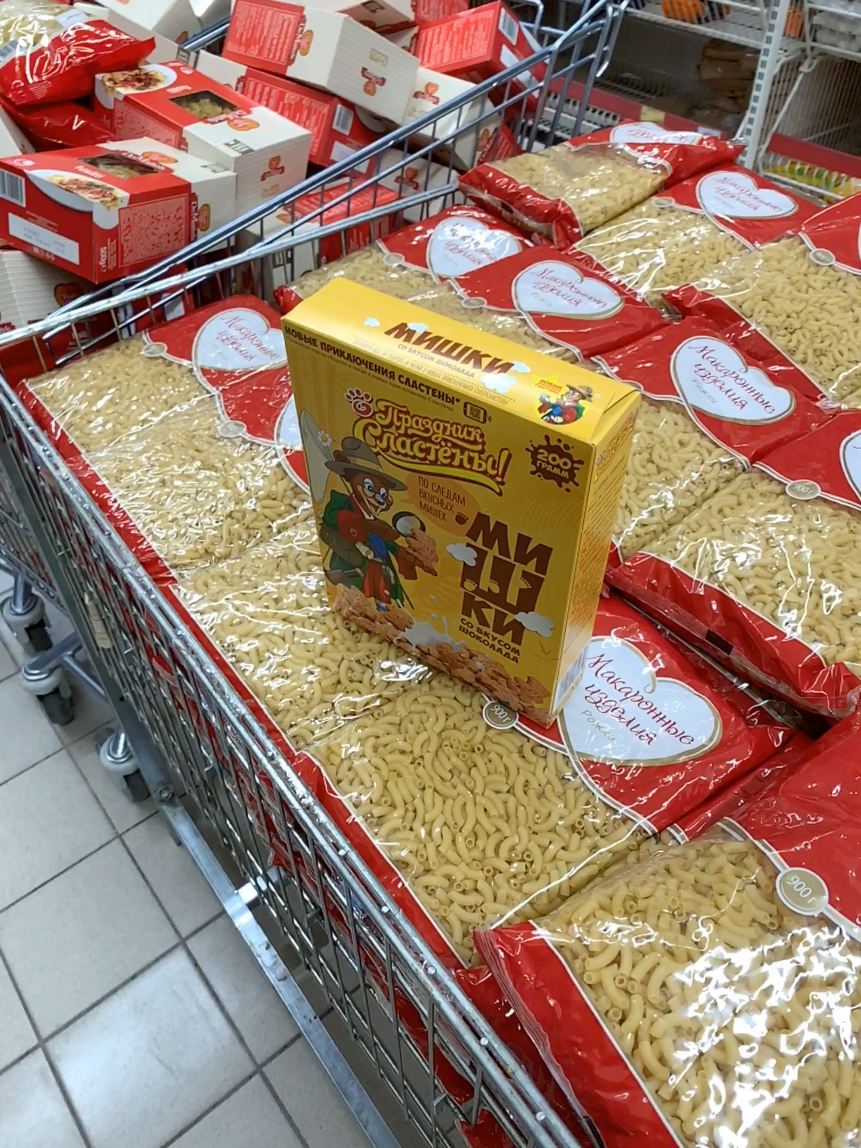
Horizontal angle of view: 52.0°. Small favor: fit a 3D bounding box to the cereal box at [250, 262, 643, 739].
[{"bbox_3d":[0.007,-0.029,0.462,0.171,0.218,0.050,27,57,24],"label":"cereal box"}]
